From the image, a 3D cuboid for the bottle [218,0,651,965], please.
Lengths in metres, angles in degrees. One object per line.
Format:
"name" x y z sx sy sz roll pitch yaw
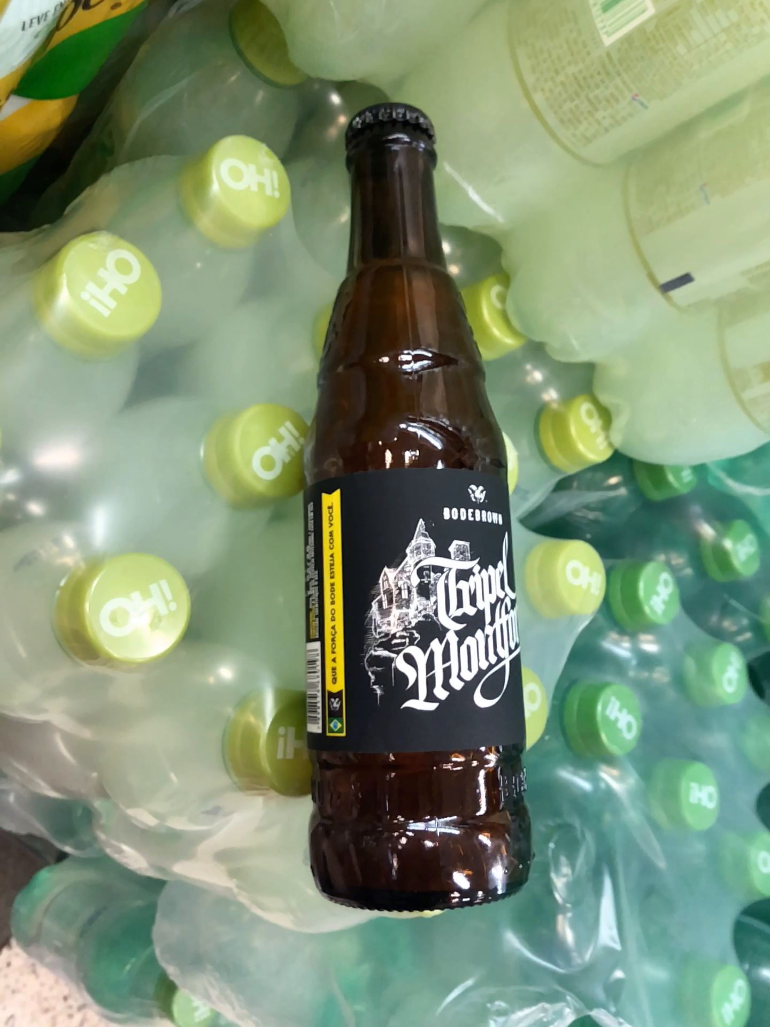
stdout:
"bottle" 0.008 -0.031 0.230 0.070 0.070 0.250 4 79 -40
